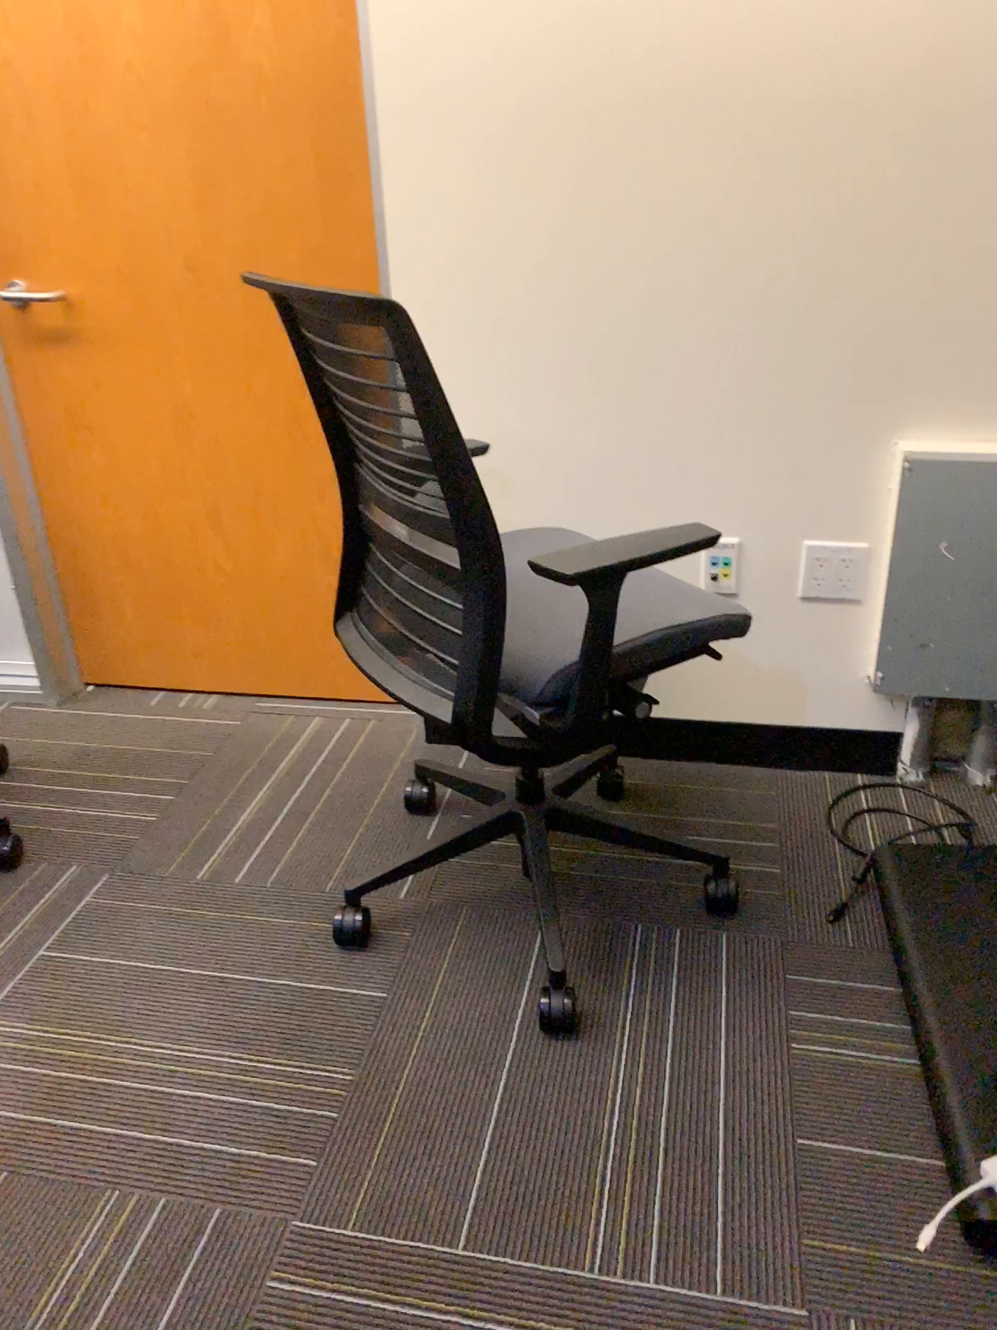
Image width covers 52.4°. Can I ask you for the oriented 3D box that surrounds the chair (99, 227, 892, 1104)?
[{"bbox_3d":[0.015,-0.117,1.587,0.781,0.994,0.743,-25,34,-38],"label":"chair"}]
